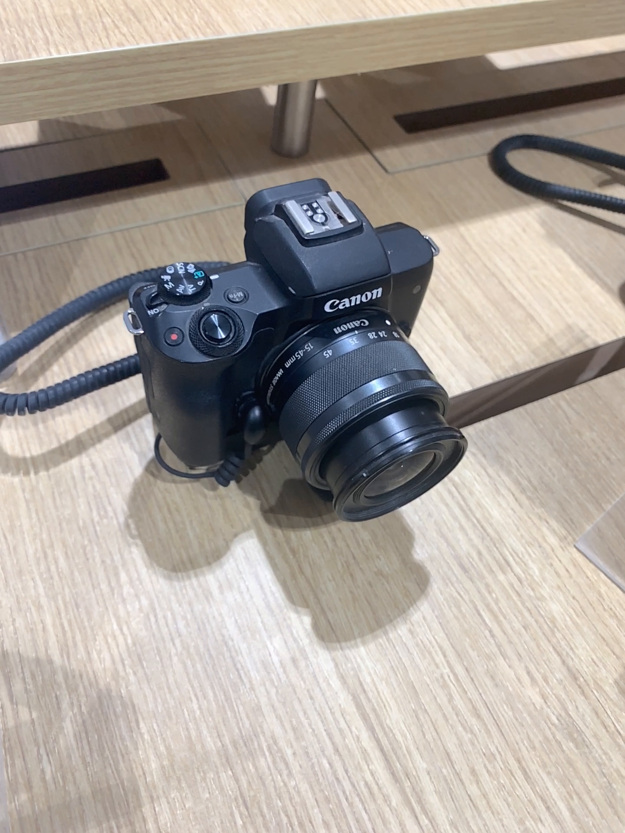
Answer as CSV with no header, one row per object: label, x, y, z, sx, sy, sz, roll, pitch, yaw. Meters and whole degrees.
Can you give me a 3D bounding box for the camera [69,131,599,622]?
camera,0.000,-0.015,0.228,0.120,0.100,0.100,-21,60,-20
